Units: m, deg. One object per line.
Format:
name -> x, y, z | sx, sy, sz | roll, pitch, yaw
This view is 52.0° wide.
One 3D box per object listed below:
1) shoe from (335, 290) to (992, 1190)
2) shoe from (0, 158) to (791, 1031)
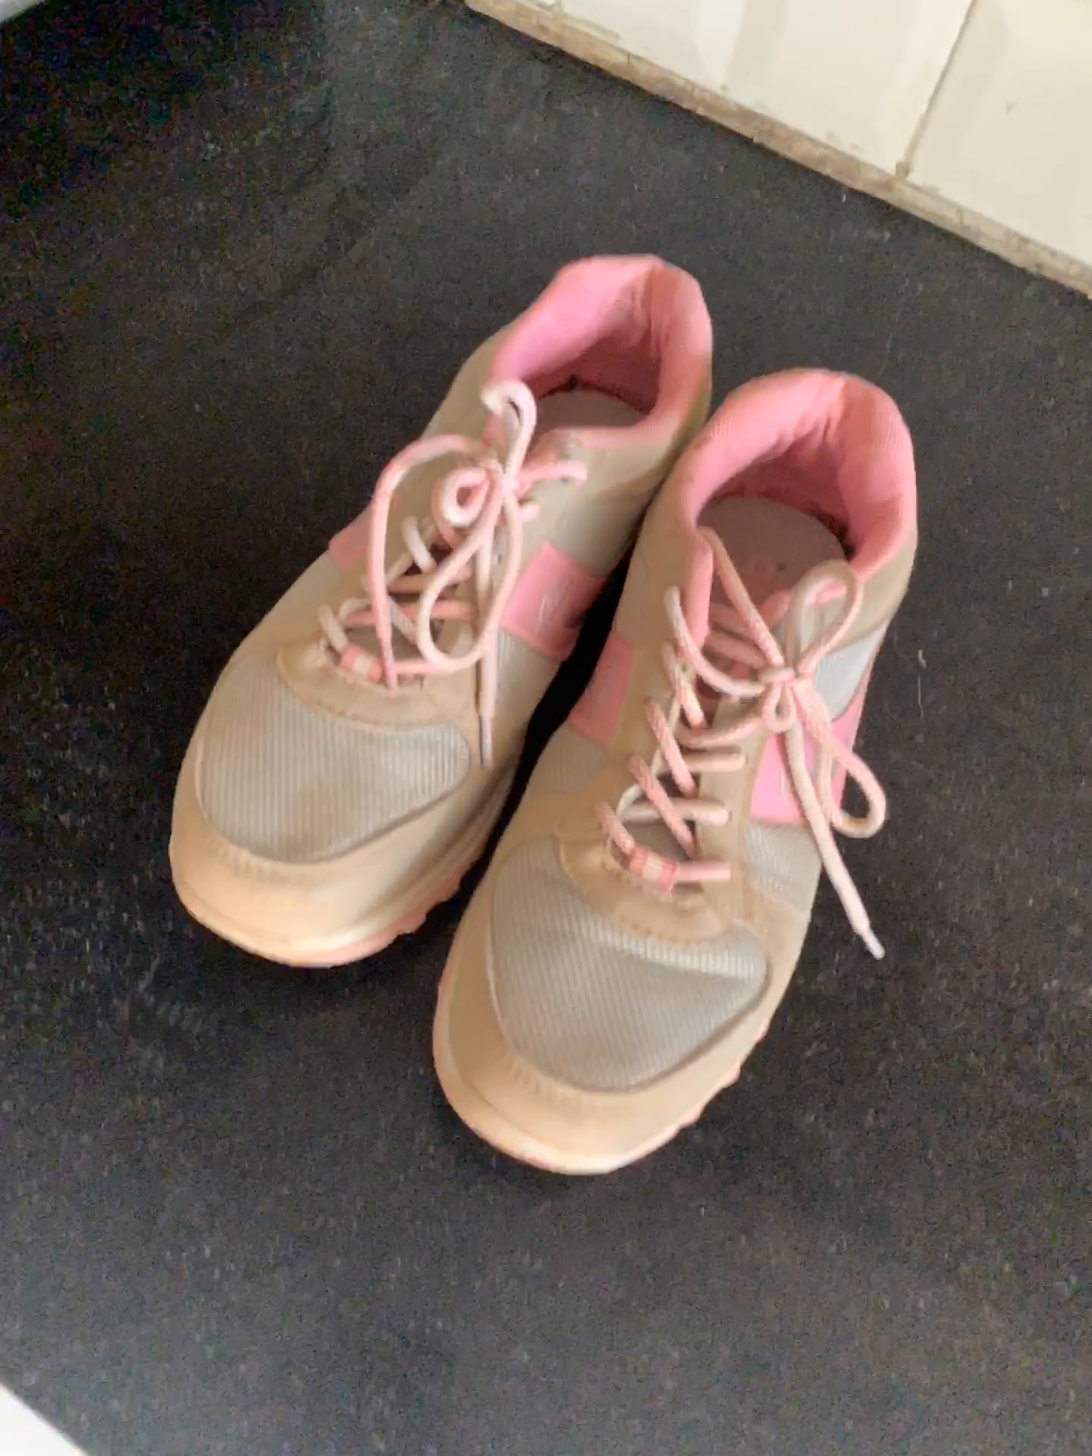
shoe -> 0.040, -0.003, 0.328 | 0.090, 0.100, 0.231 | 24, 62, 7
shoe -> -0.030, -0.049, 0.344 | 0.100, 0.100, 0.241 | 28, 62, 10
